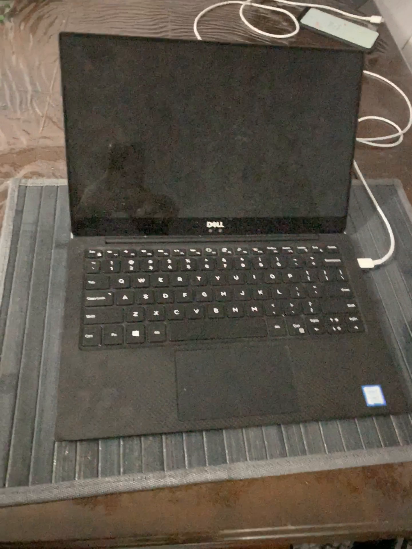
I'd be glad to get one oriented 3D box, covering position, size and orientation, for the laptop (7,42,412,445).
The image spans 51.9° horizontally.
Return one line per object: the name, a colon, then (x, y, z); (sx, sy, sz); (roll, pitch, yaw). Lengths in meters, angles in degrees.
laptop: (0.024, -0.042, 0.352); (0.281, 0.130, 0.298); (-2, 57, -9)
